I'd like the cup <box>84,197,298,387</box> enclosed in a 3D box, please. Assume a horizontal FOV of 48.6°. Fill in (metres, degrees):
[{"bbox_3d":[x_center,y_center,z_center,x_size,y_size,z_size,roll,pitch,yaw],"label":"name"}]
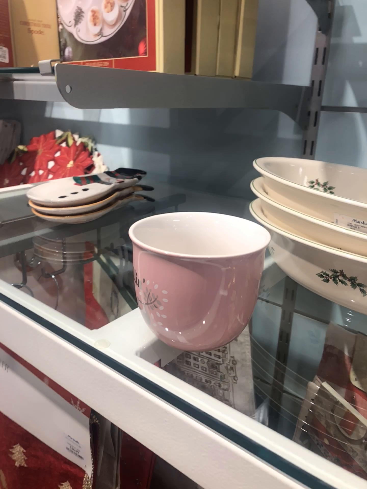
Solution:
[{"bbox_3d":[-0.002,0.023,0.333,0.112,0.085,0.136,-11,24,-30],"label":"cup"}]
